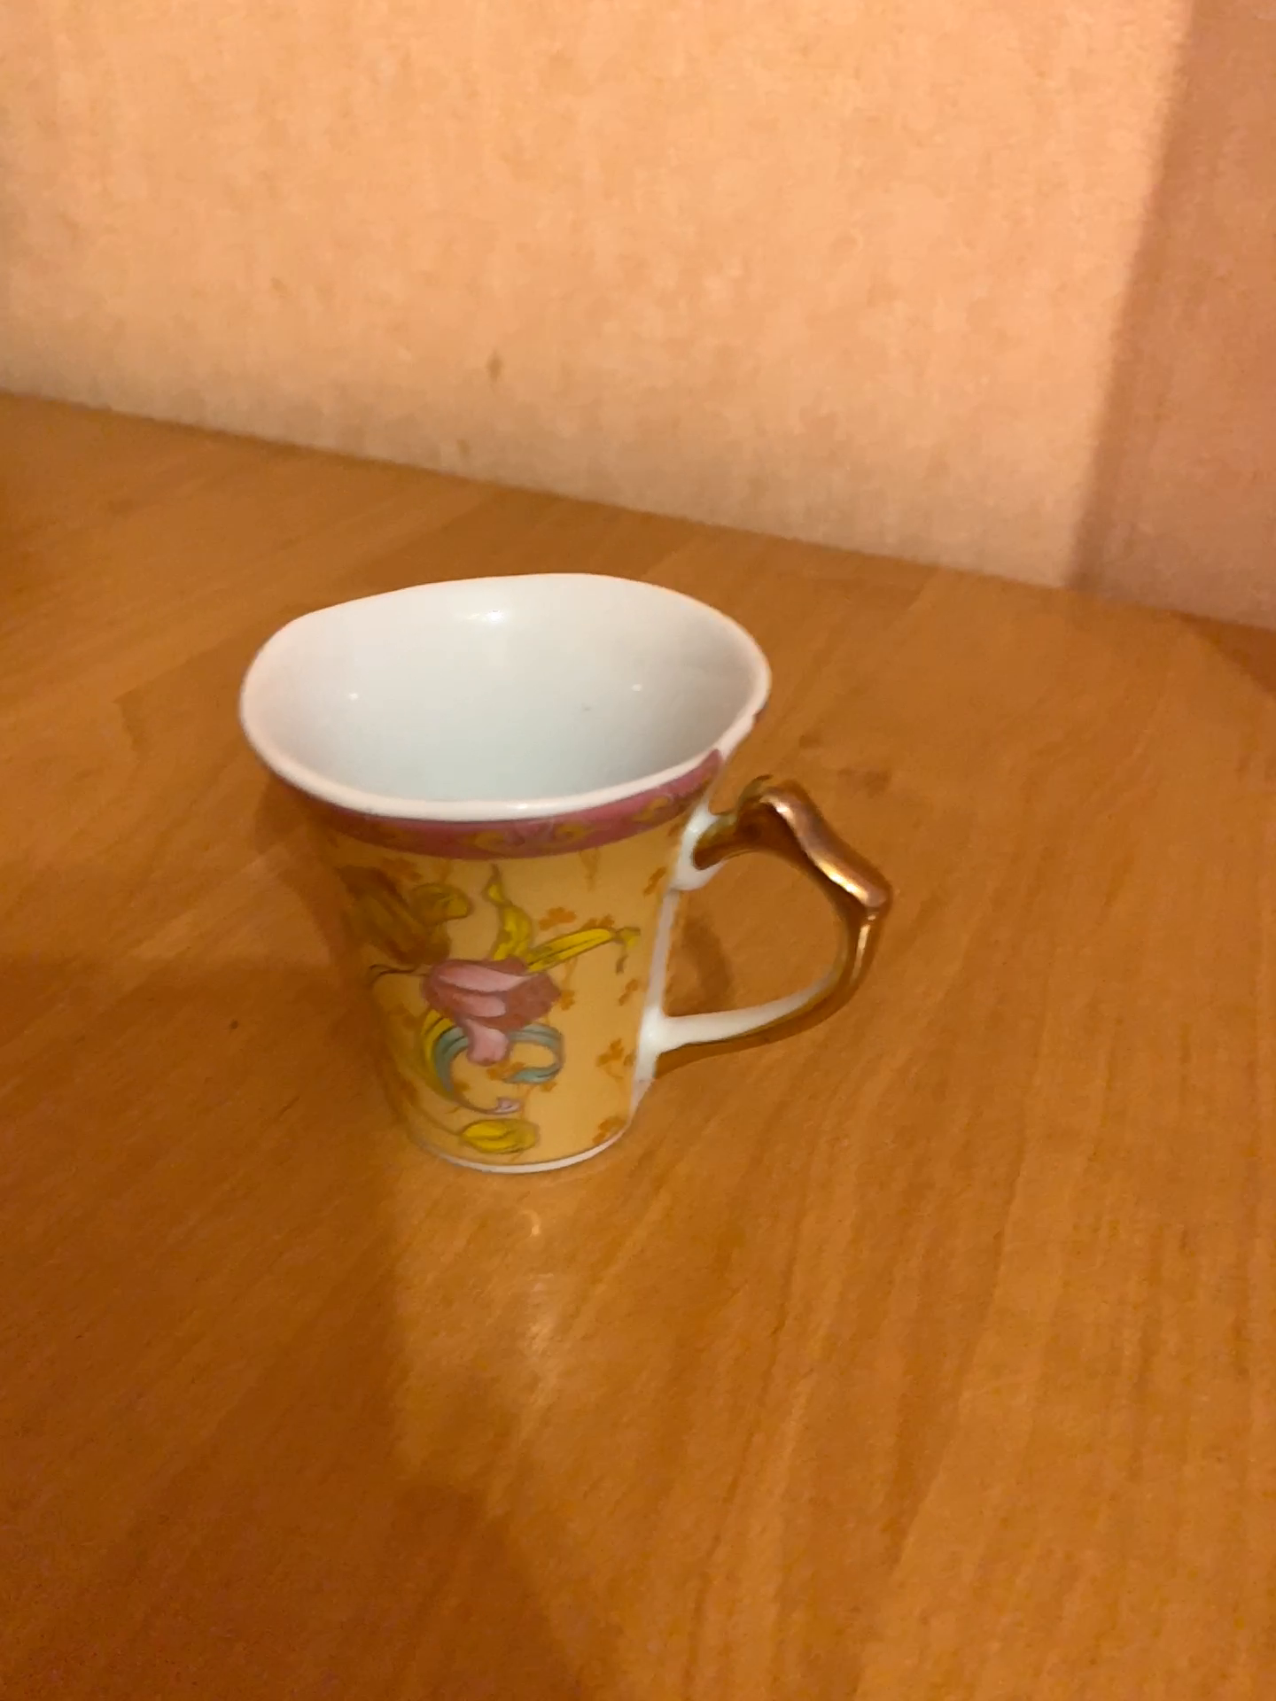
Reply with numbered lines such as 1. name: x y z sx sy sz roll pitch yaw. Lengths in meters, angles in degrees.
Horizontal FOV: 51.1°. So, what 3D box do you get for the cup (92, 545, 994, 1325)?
1. cup: -0.006 0.005 0.182 0.094 0.061 0.072 9 33 11
